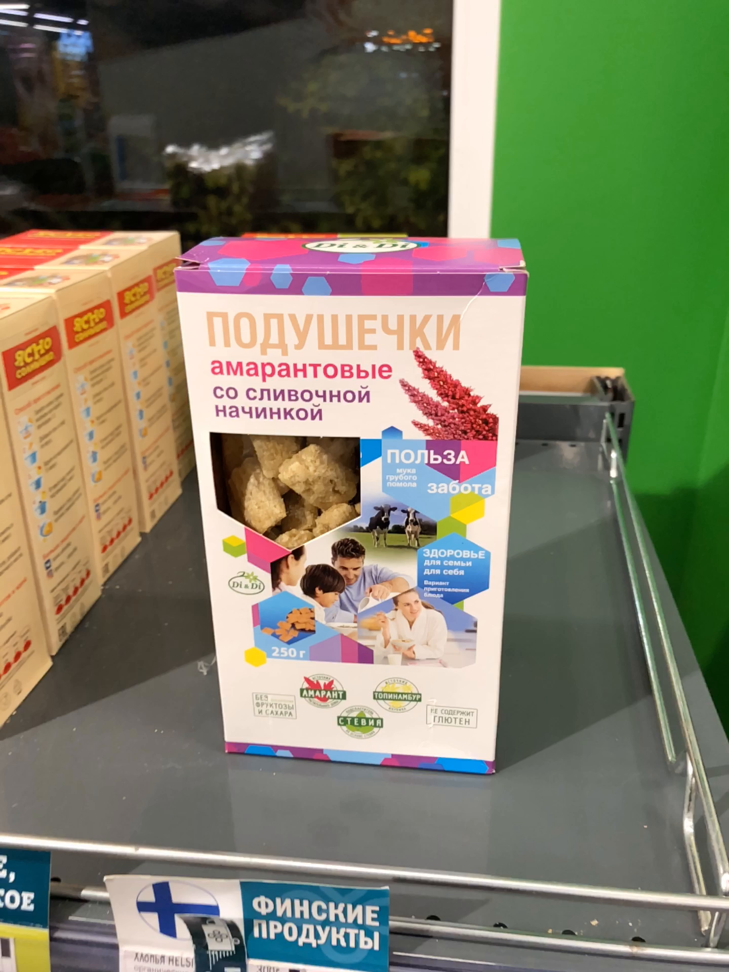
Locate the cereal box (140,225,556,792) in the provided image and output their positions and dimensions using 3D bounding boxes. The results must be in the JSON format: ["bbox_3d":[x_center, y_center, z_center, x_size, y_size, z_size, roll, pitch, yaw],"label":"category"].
[{"bbox_3d":[-0.002,0.011,0.353,0.140,0.229,0.080,3,25,7],"label":"cereal box"}]
